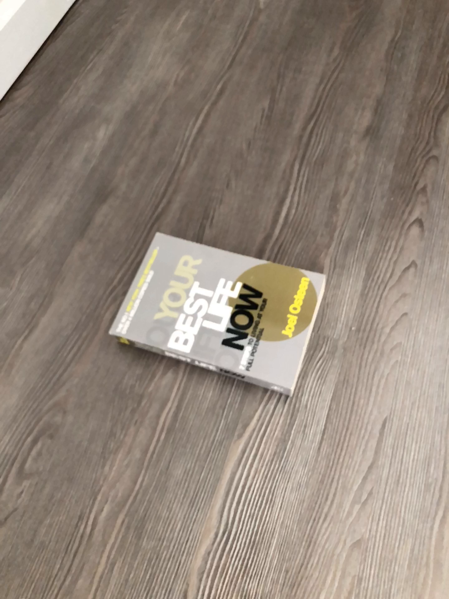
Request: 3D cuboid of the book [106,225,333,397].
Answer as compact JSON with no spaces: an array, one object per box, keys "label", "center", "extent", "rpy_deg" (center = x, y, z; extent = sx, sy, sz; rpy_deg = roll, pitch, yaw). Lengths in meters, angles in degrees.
[{"label":"book","center":[-0.002,0.006,0.530],"extent":[0.201,0.030,0.137],"rpy_deg":[15,64,13]}]
